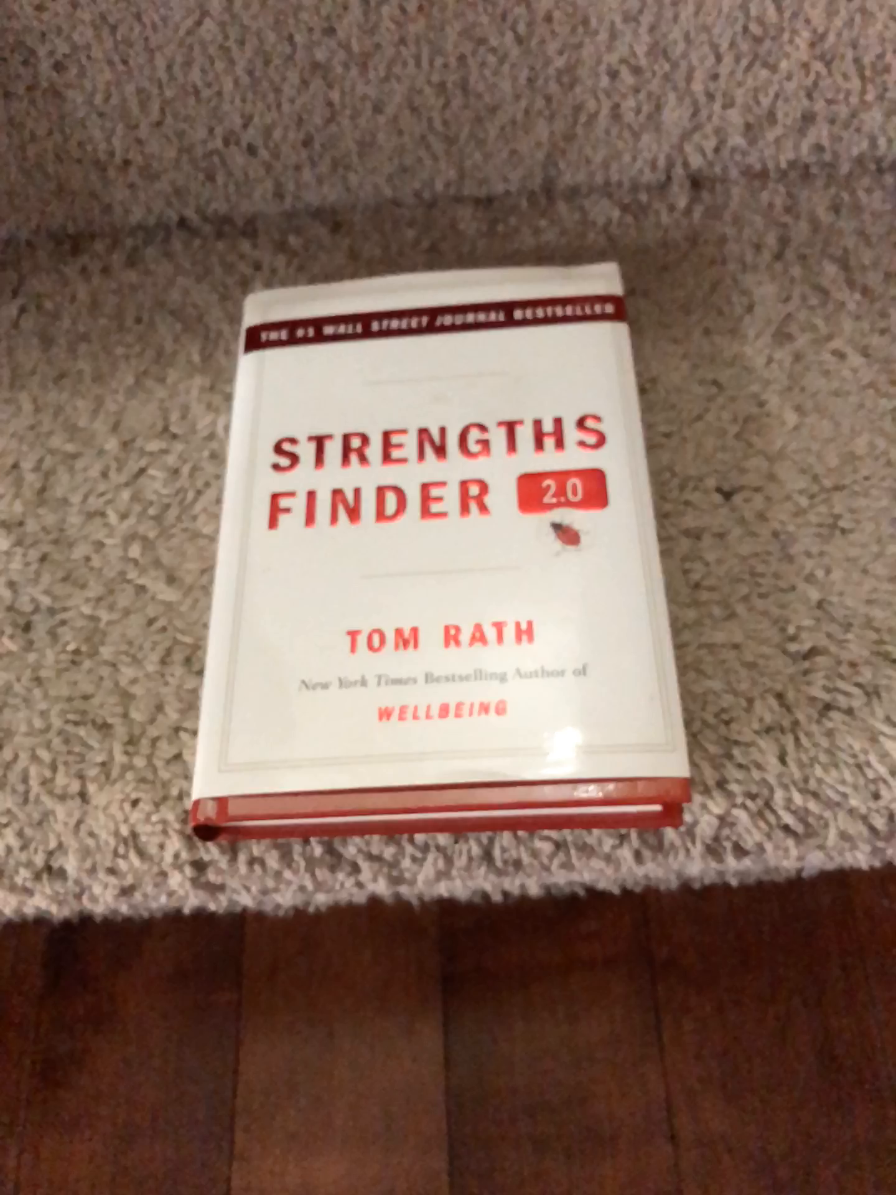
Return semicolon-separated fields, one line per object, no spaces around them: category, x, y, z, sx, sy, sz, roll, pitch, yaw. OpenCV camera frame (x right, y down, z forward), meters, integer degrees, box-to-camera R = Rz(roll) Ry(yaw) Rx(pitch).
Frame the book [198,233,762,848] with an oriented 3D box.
book;0.007;-0.026;0.300;0.136;0.029;0.190;-3;61;3
